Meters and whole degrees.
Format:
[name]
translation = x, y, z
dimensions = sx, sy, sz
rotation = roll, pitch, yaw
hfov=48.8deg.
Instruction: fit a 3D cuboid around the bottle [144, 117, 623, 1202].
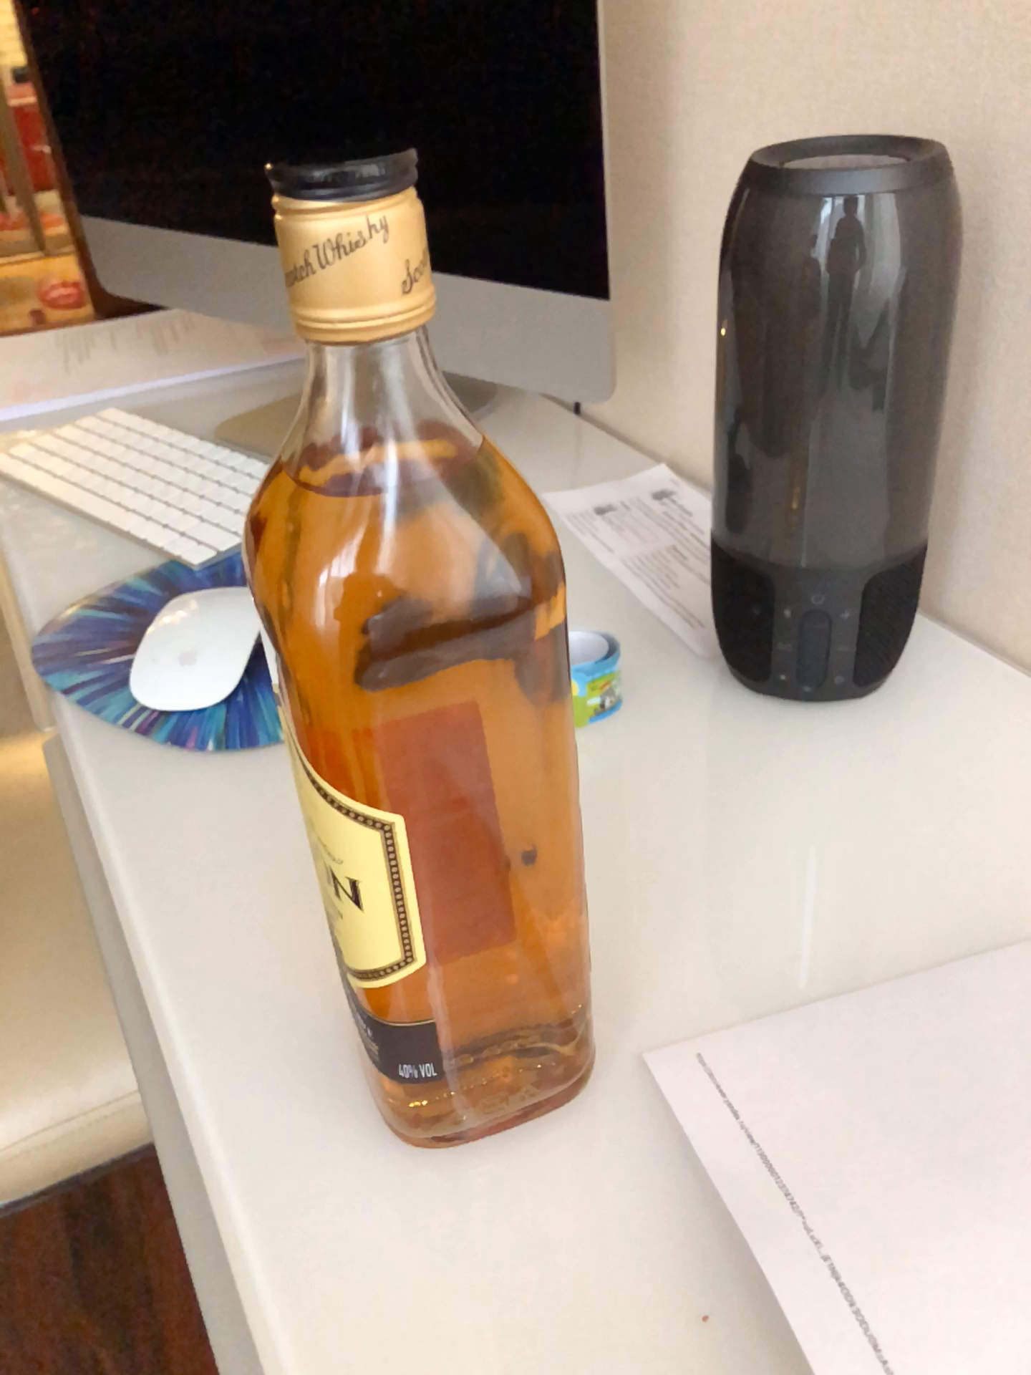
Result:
[bottle]
translation = -0.023, 0.008, 0.287
dimensions = 0.070, 0.258, 0.080
rotation = -14, 34, -13
